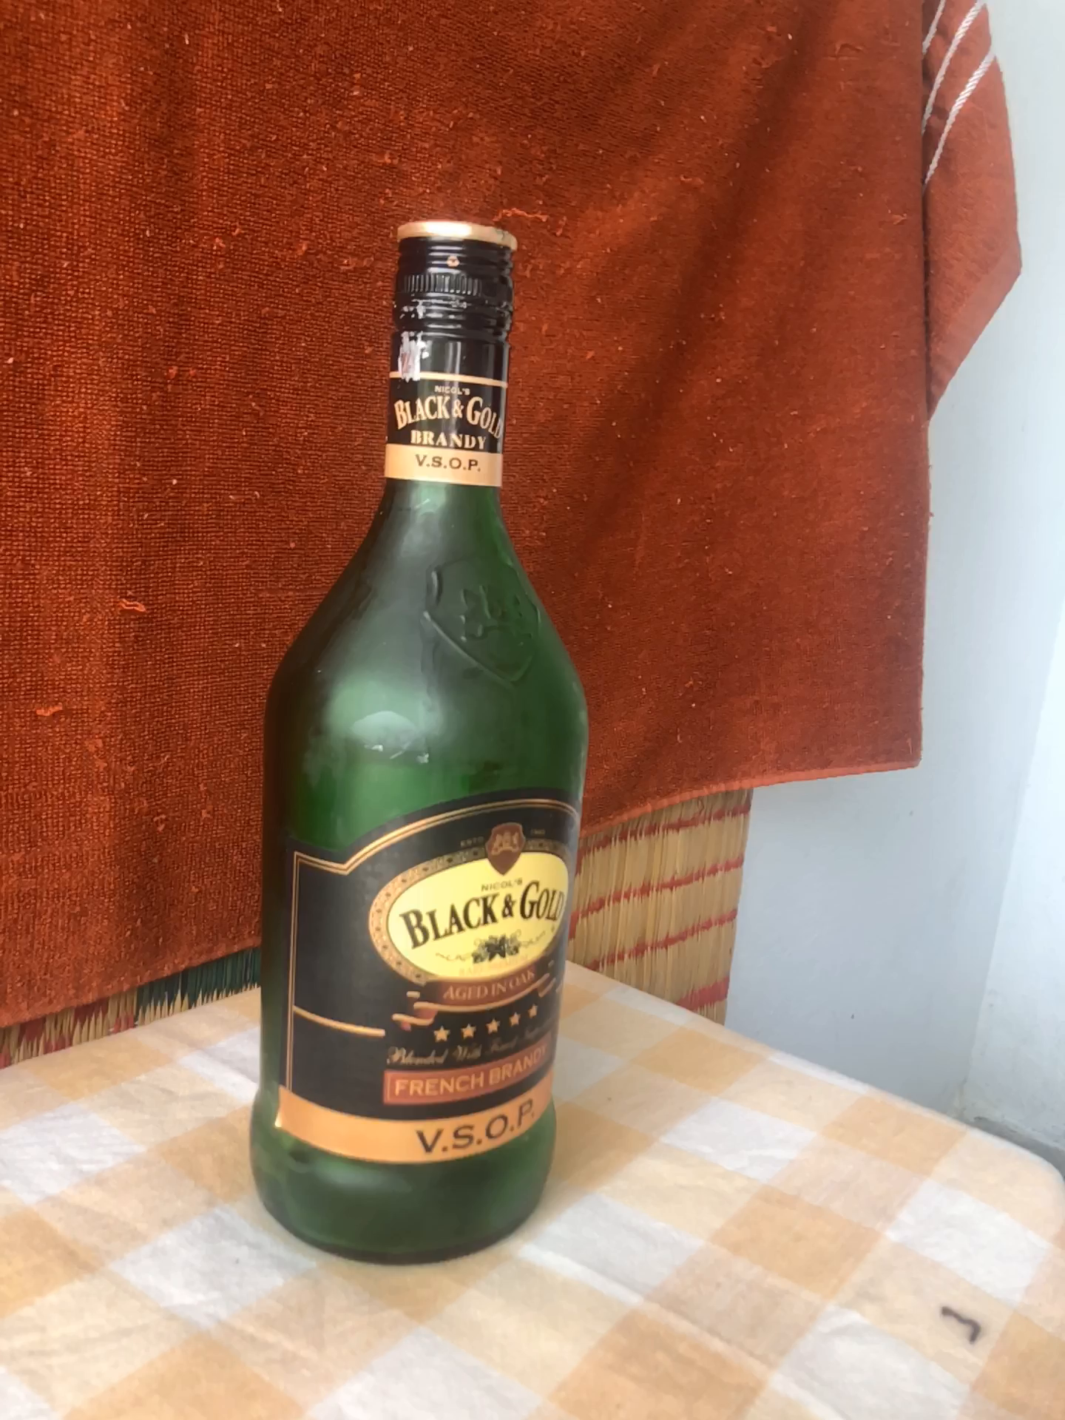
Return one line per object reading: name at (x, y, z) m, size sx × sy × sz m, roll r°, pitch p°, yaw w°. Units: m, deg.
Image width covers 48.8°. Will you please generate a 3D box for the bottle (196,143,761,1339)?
bottle at (-0.021, 0.008, 0.306) m, size 0.090 × 0.259 × 0.080 m, roll -1°, pitch 13°, yaw -36°
